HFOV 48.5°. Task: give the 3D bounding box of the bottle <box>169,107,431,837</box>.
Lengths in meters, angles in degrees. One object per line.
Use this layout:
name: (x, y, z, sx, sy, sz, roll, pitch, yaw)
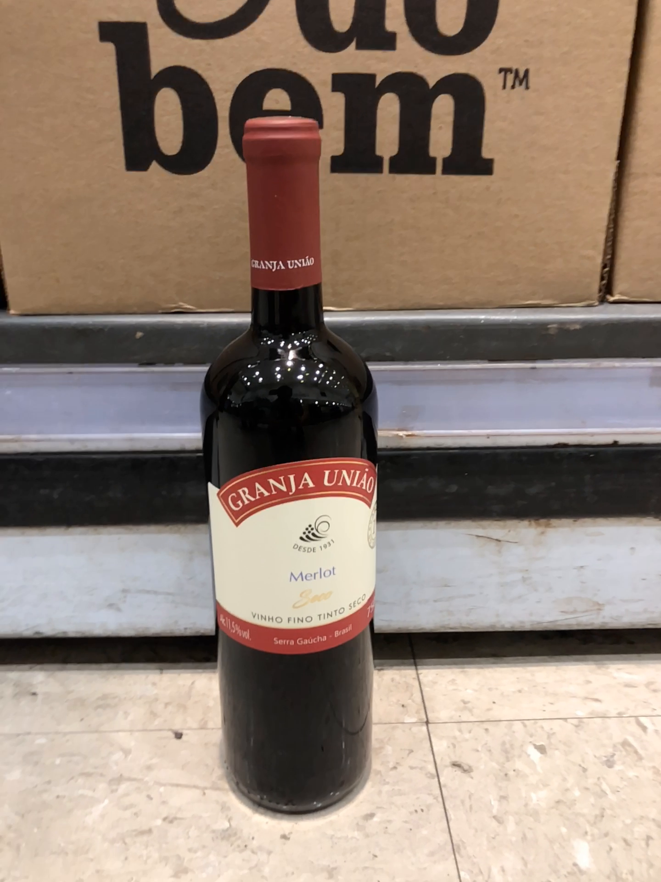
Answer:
bottle: (-0.015, 0.020, 0.320, 0.080, 0.298, 0.080, 0, 21, 0)
